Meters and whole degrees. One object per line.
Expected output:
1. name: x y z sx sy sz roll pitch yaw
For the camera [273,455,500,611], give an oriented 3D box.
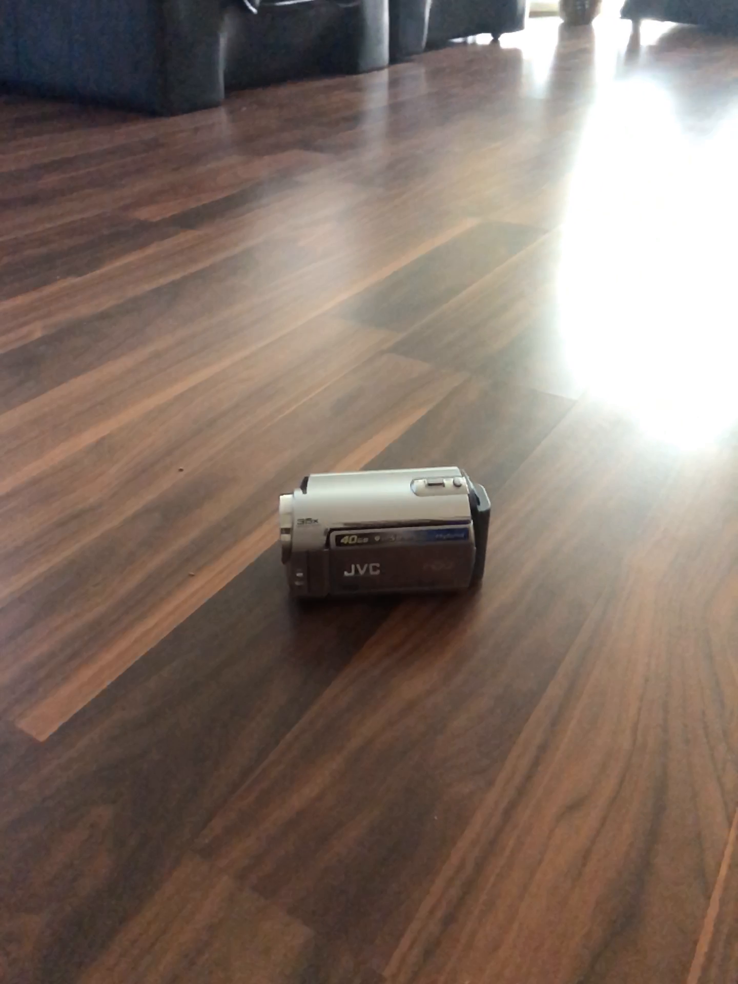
1. camera: 0.008 0.023 0.471 0.120 0.060 0.060 -3 34 -3
